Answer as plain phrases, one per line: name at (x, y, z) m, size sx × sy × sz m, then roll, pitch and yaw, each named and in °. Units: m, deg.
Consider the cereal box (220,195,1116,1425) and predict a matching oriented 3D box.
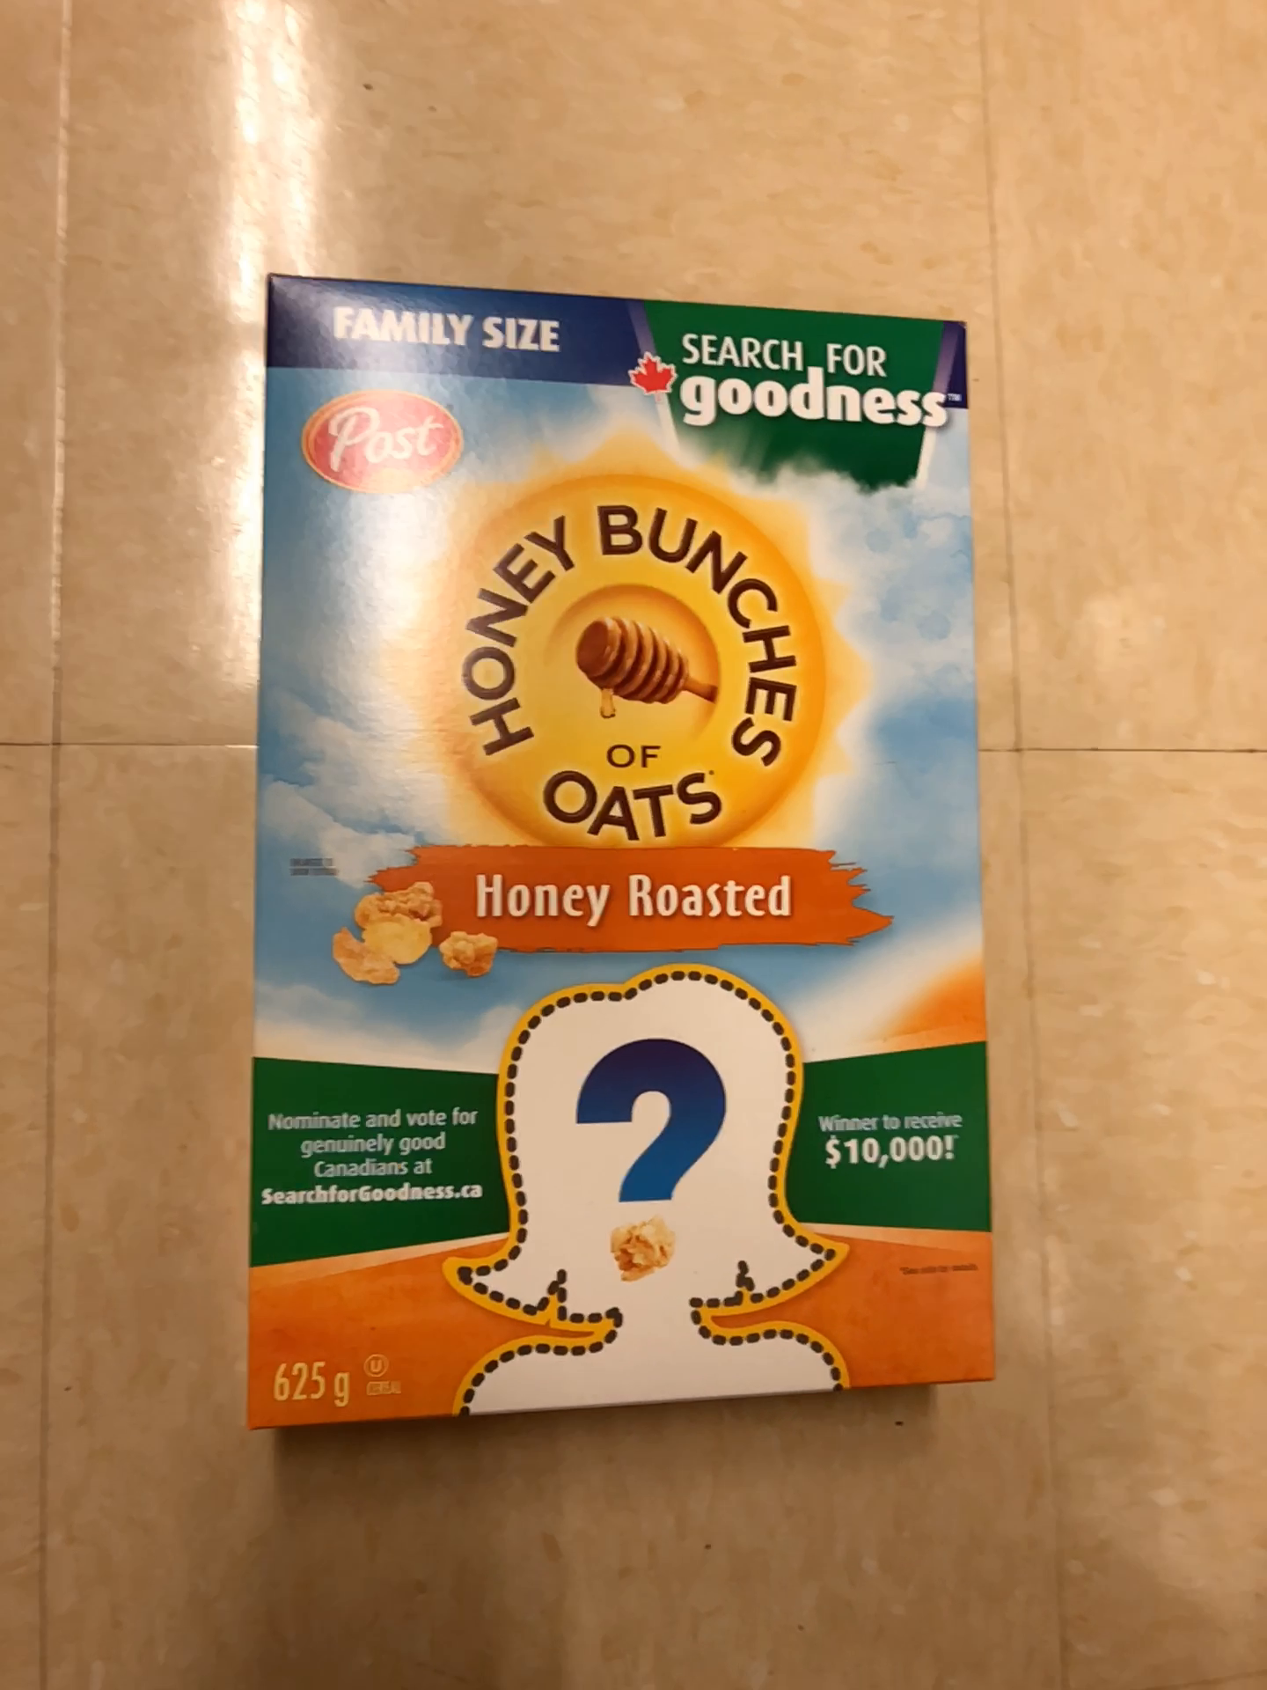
cereal box at (0.008, -0.010, 0.377) m, size 0.210 × 0.070 × 0.290 m, roll 2°, pitch 80°, yaw -11°
